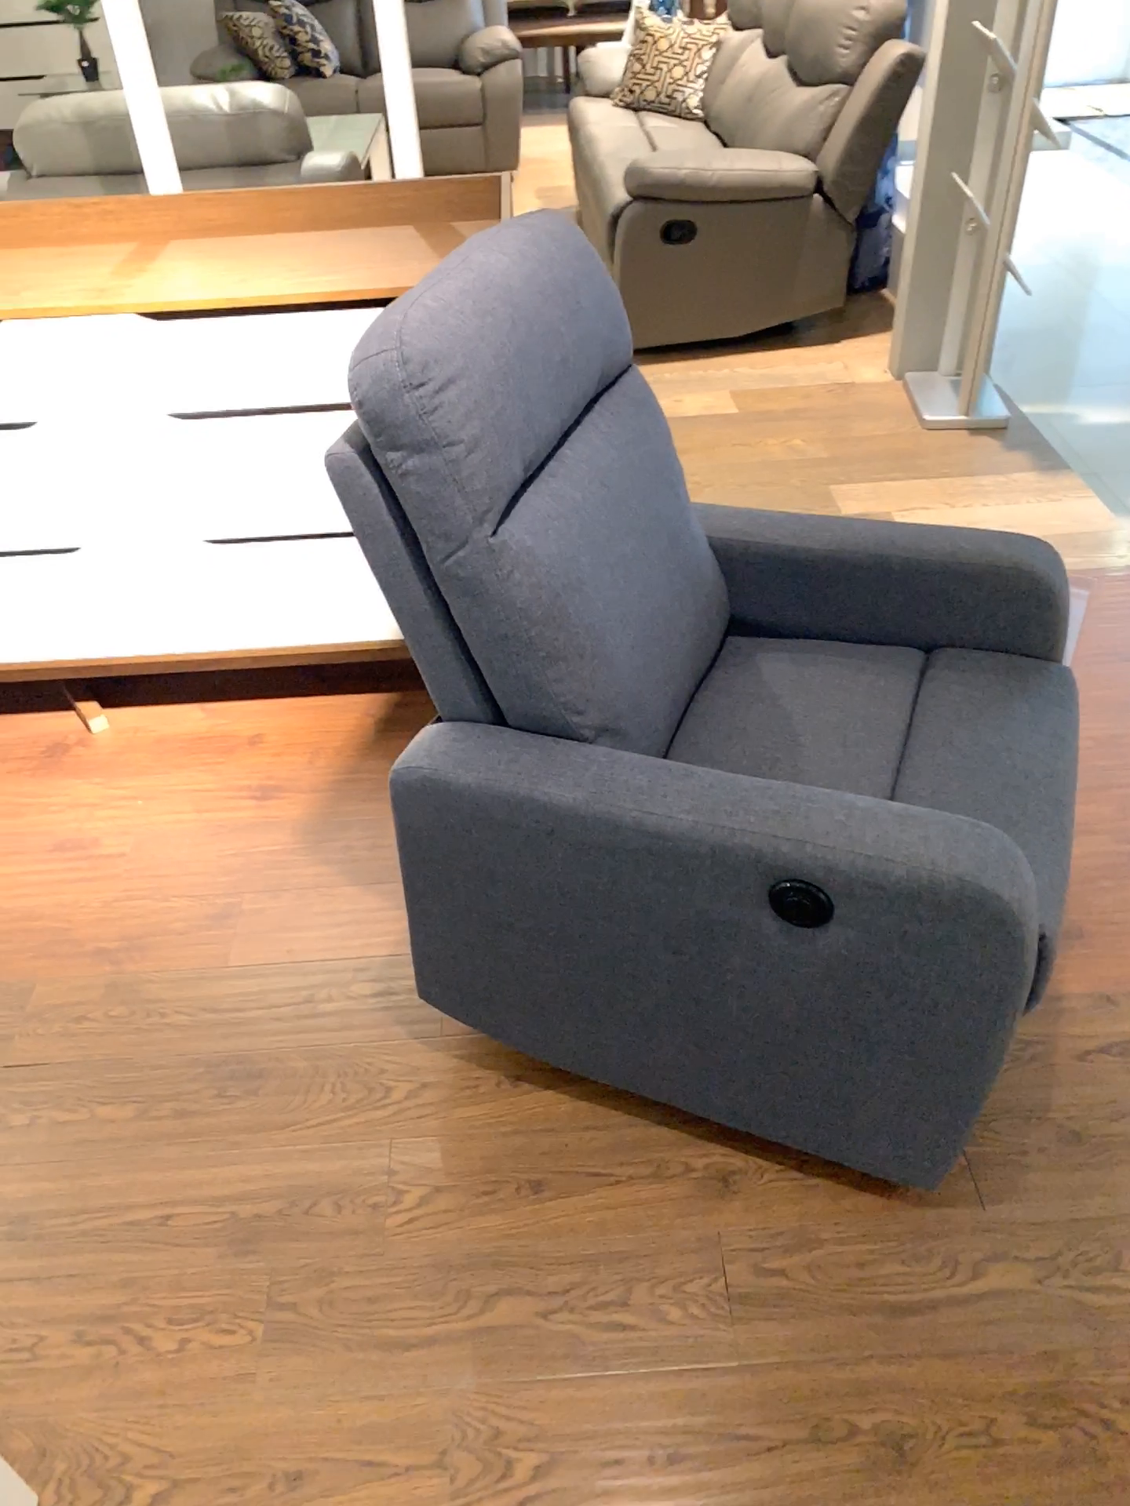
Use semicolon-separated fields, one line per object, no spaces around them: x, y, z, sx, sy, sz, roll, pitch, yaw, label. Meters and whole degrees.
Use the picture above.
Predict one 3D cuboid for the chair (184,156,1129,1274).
0.263;-0.128;1.506;0.881;0.966;0.933;11;41;17;chair
